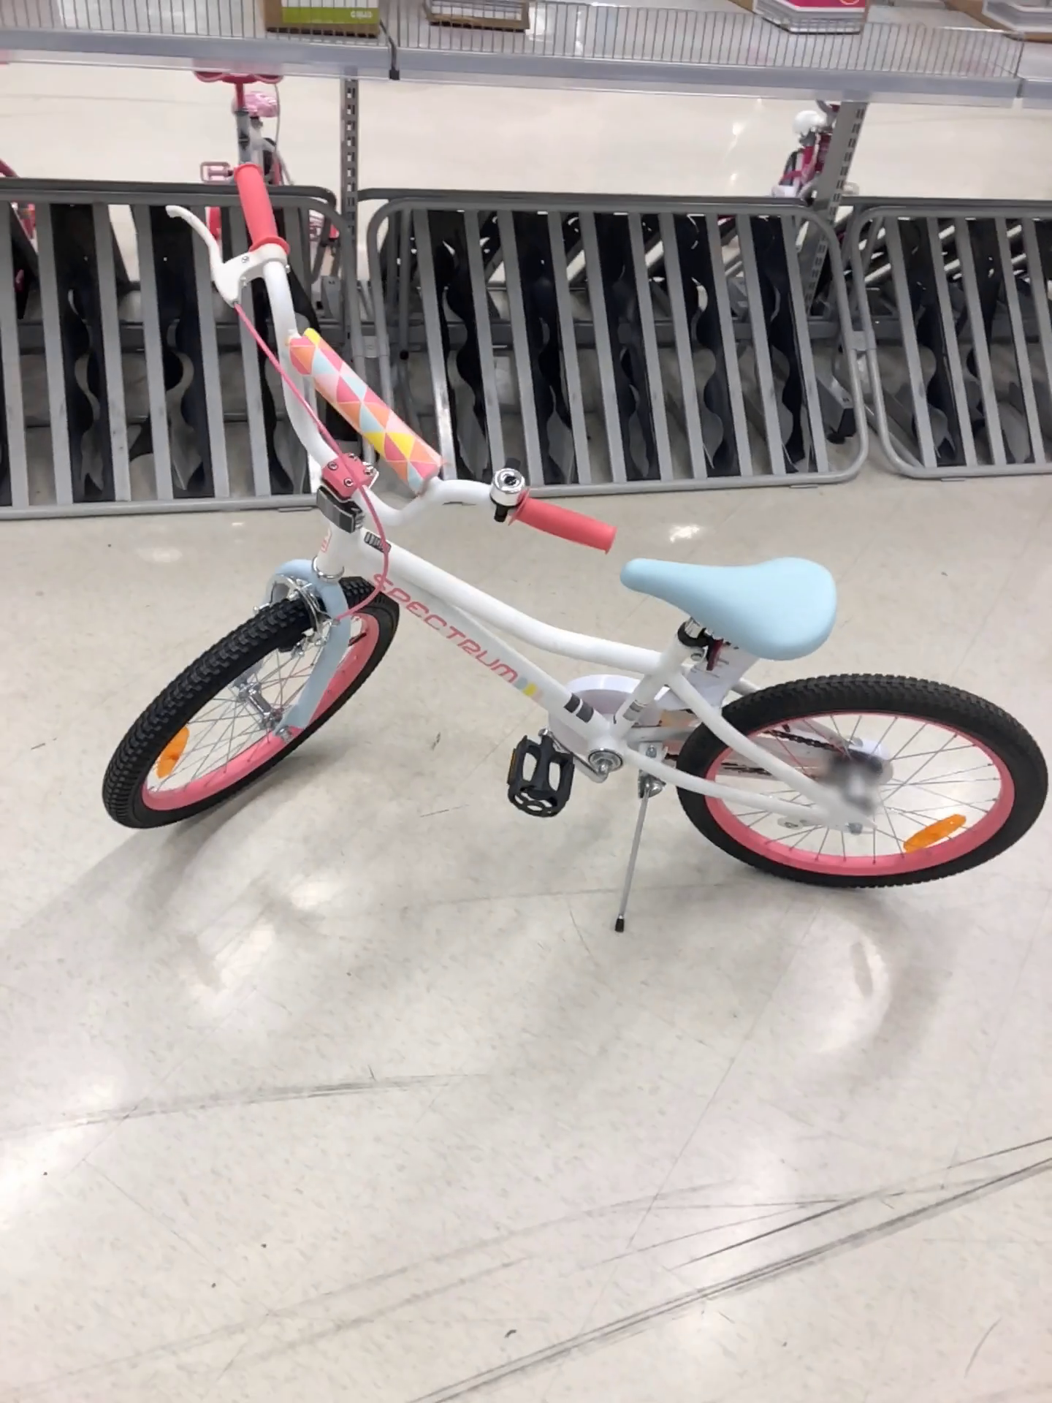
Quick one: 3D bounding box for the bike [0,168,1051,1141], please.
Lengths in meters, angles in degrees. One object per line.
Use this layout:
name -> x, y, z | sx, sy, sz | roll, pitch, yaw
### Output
bike -> 0.093, -0.003, 1.394 | 1.251, 0.961, 0.635 | 3, 42, -4
